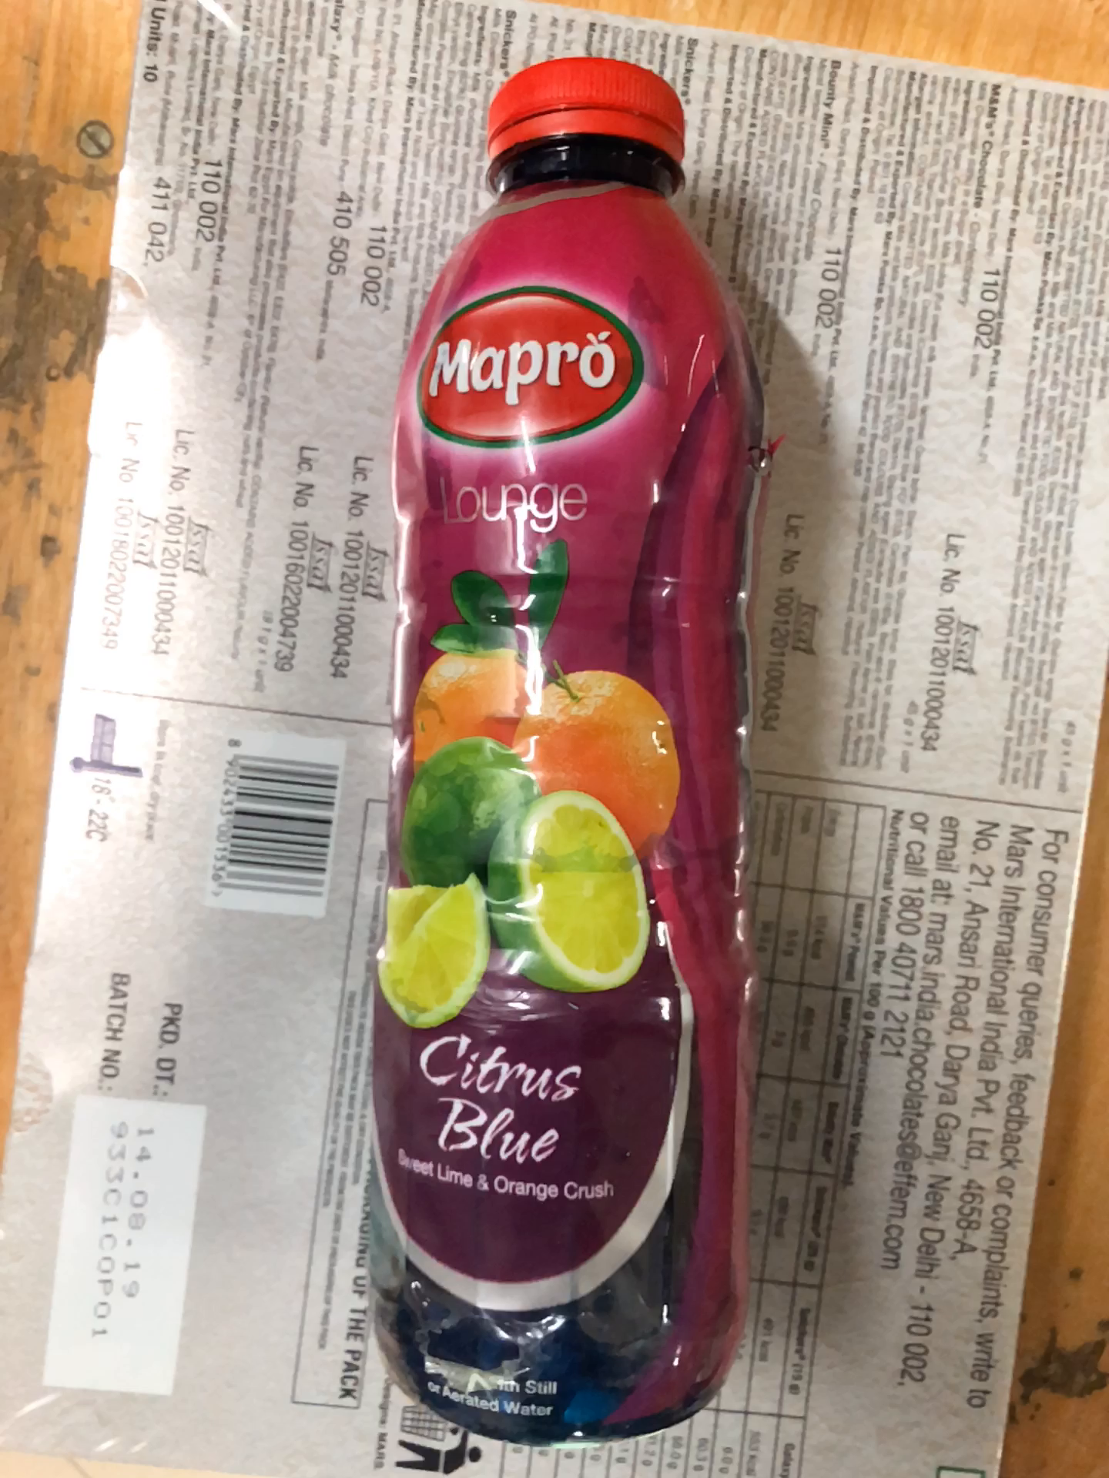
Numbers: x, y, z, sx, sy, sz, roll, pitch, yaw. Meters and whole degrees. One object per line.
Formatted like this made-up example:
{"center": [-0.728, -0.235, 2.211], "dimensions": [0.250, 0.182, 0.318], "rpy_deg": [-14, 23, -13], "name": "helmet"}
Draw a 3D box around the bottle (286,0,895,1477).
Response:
{"center": [0.010, -0.013, 0.244], "dimensions": [0.090, 0.080, 0.270], "rpy_deg": [3, 94, 21], "name": "bottle"}
